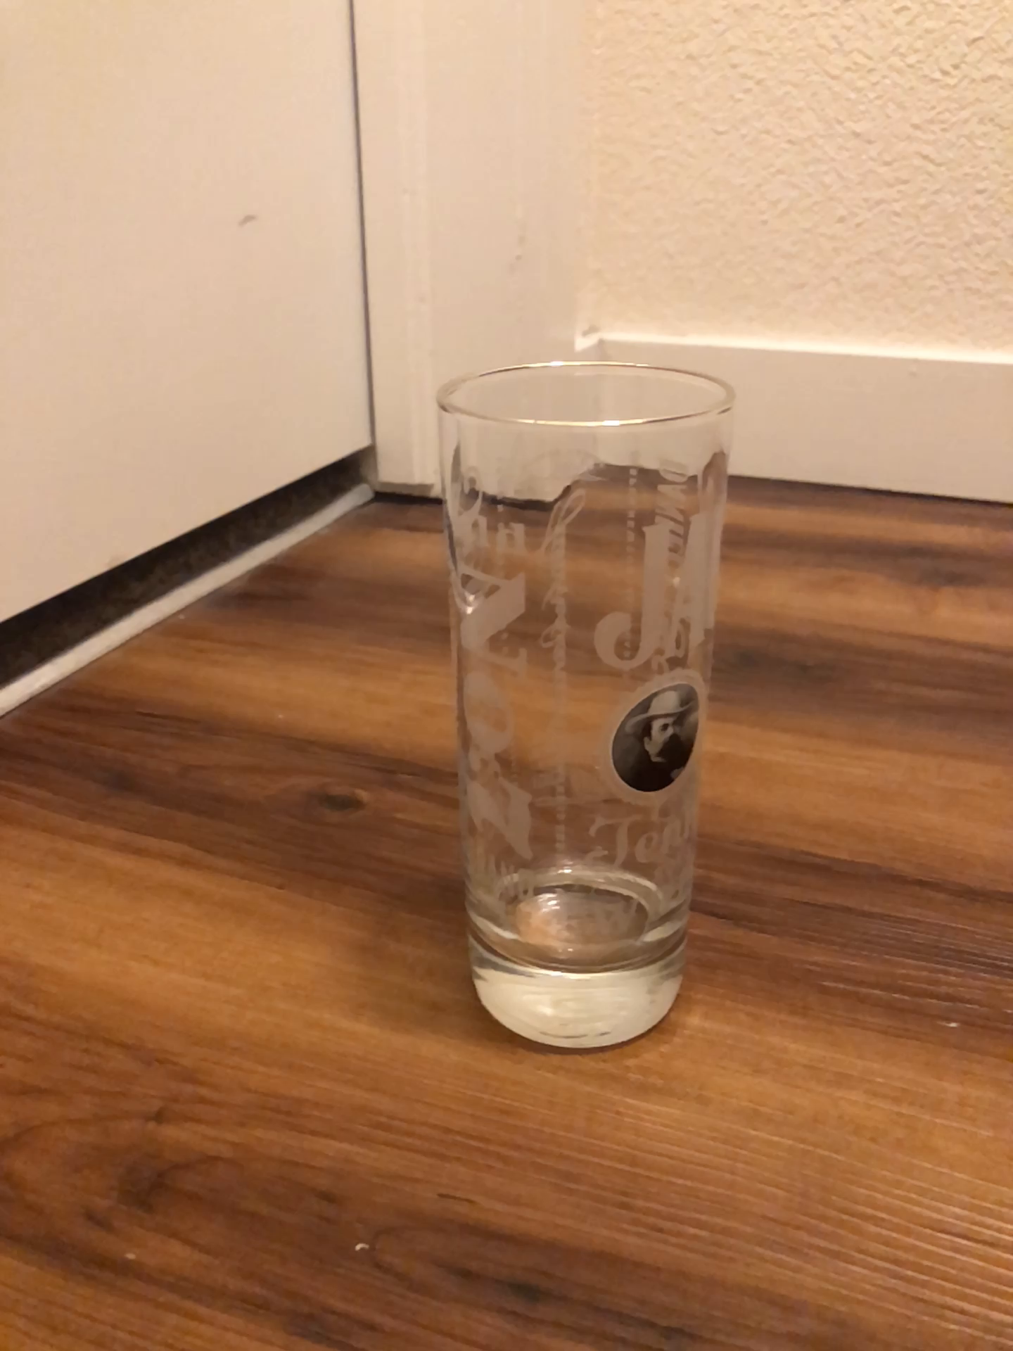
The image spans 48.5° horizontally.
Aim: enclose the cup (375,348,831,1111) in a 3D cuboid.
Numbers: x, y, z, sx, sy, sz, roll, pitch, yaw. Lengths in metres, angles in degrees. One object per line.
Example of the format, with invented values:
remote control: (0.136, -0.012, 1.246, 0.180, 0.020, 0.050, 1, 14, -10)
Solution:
cup: (0.018, 0.009, 0.261, 0.067, 0.150, 0.068, -1, 25, 0)
